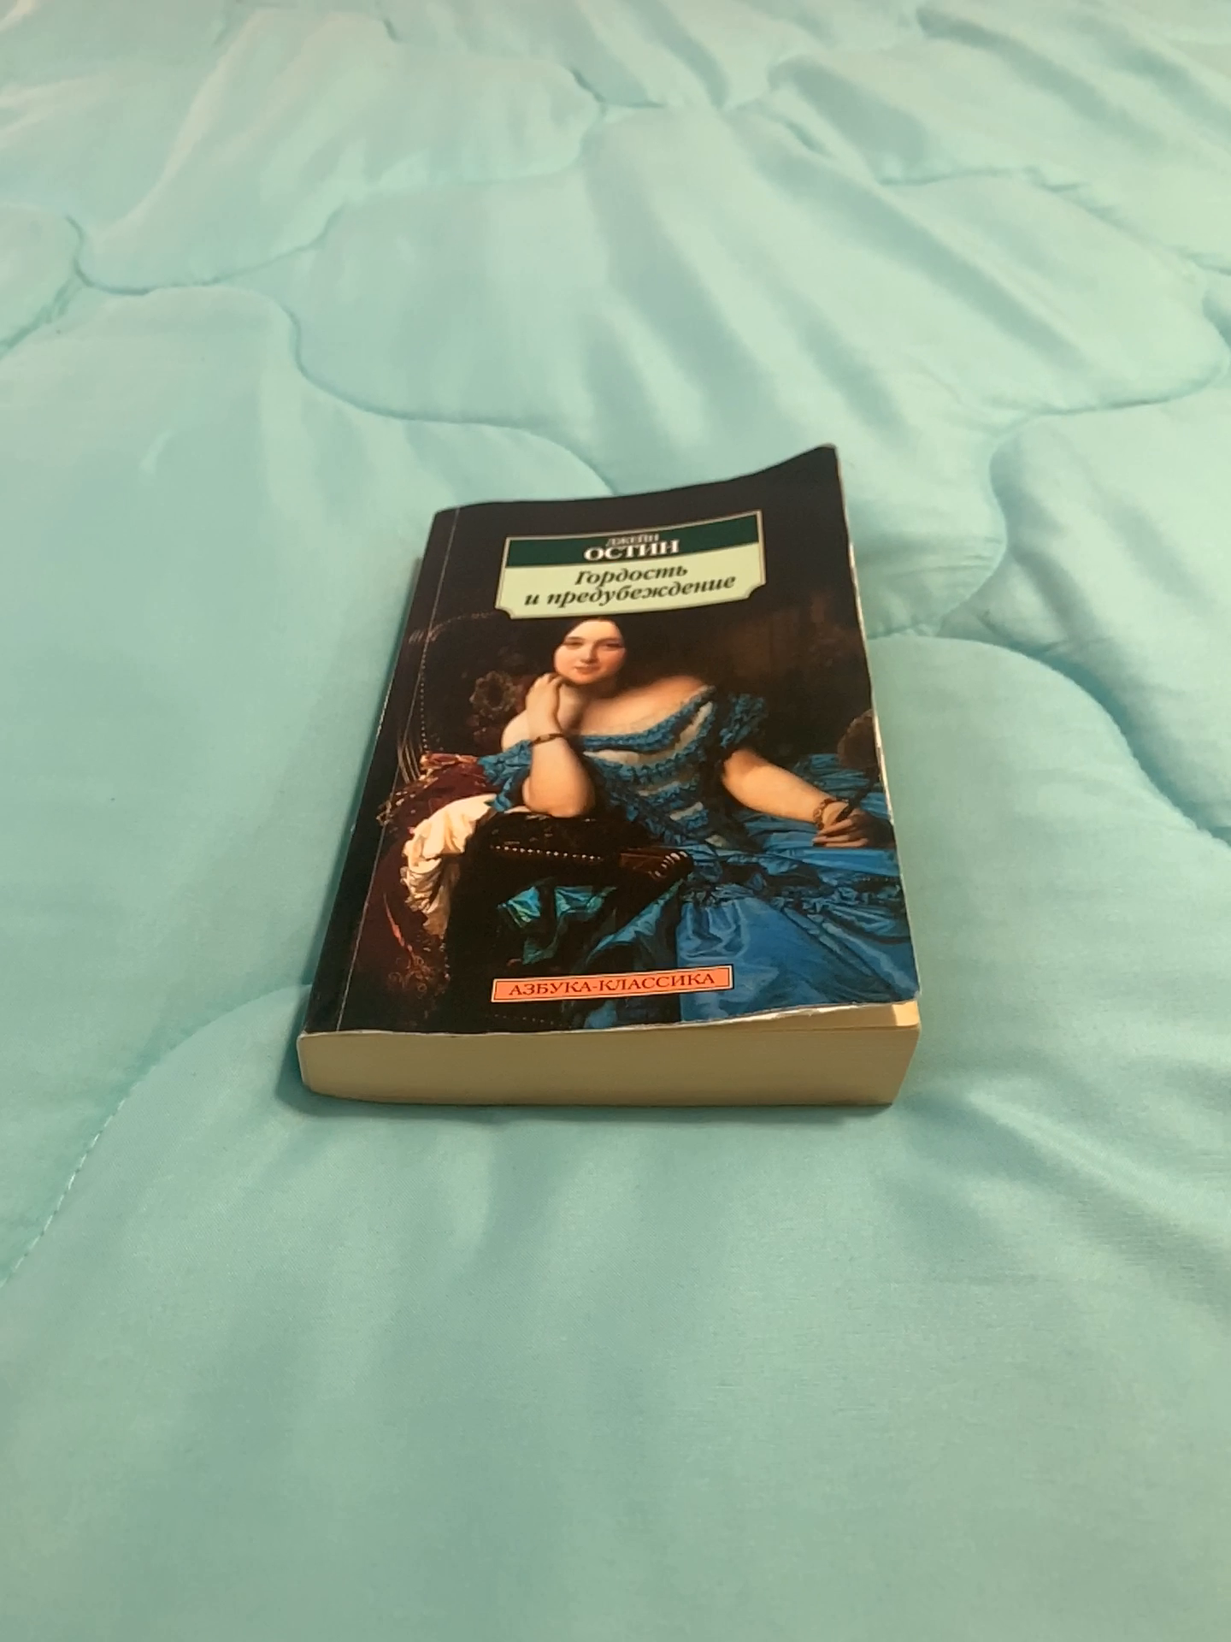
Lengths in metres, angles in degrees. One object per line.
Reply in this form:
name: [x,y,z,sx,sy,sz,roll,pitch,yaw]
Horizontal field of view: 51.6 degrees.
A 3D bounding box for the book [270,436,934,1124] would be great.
book: [0.001,-0.022,0.287,0.110,0.044,0.174,2,46,2]
